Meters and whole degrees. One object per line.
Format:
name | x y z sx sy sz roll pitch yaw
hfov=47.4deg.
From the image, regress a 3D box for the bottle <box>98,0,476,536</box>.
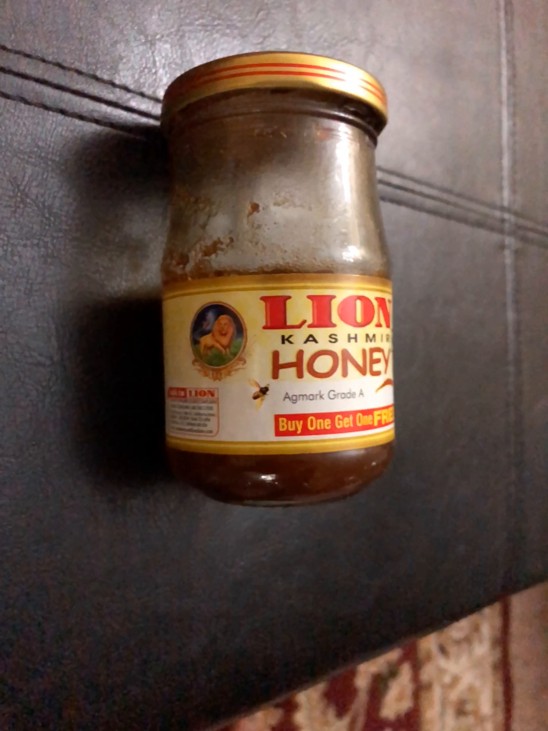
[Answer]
bottle | 0.000 -0.023 0.166 0.069 0.070 0.110 -2 90 -34
